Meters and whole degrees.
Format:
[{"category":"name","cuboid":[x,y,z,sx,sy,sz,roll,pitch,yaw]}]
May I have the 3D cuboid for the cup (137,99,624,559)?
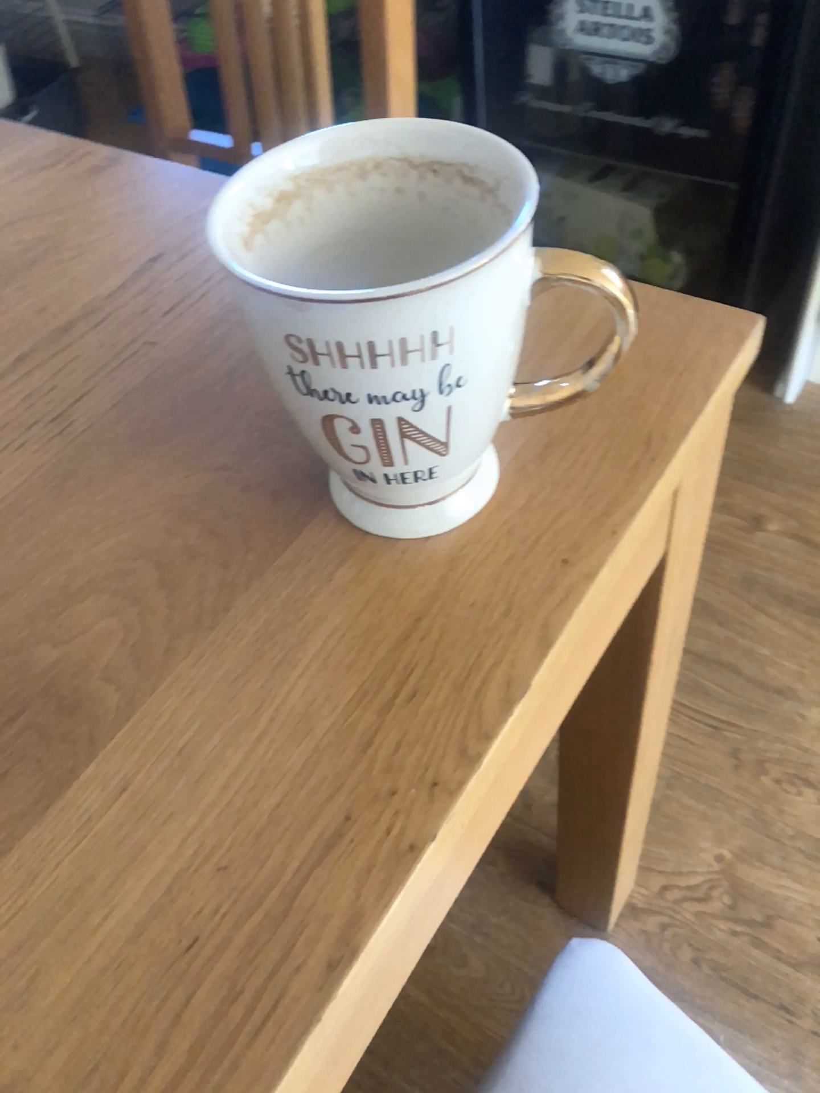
[{"category":"cup","cuboid":[0.002,-0.075,0.322,0.134,0.111,0.109,2,51,9]}]
